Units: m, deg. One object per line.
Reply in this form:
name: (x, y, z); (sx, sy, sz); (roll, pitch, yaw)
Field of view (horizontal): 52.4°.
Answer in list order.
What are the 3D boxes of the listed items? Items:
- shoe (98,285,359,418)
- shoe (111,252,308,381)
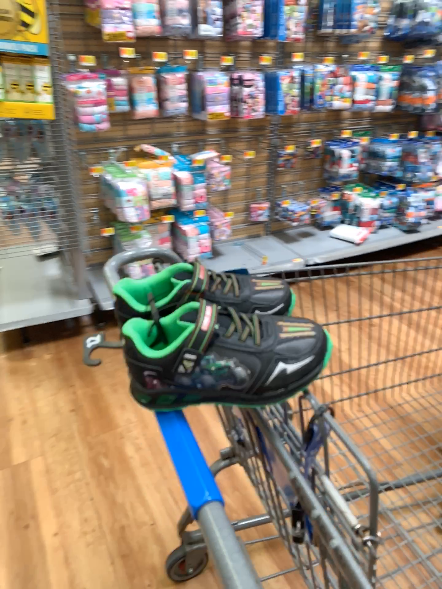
shoe: (0.005, 0.051, 0.425); (0.213, 0.086, 0.090); (0, 30, -2)
shoe: (-0.017, 0.020, 0.501); (0.194, 0.093, 0.096); (-4, 30, -8)
